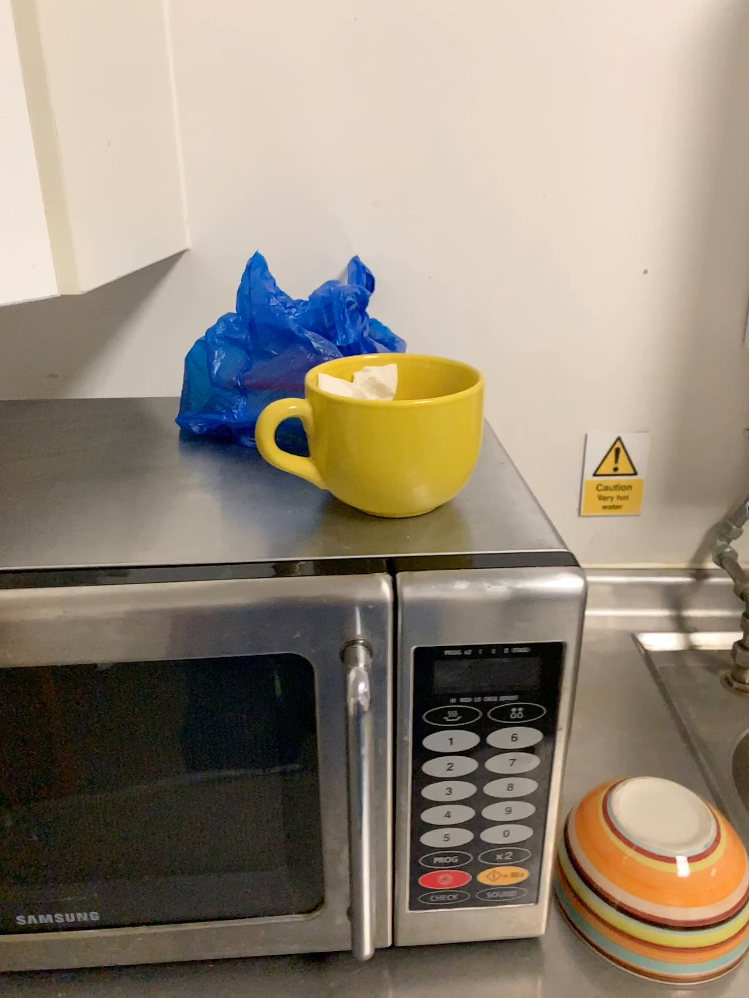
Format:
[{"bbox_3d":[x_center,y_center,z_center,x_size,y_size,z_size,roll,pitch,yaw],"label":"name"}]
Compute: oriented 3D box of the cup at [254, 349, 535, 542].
[{"bbox_3d":[0.008,-0.039,0.489,0.154,0.082,0.116,-2,23,-4],"label":"cup"}]
